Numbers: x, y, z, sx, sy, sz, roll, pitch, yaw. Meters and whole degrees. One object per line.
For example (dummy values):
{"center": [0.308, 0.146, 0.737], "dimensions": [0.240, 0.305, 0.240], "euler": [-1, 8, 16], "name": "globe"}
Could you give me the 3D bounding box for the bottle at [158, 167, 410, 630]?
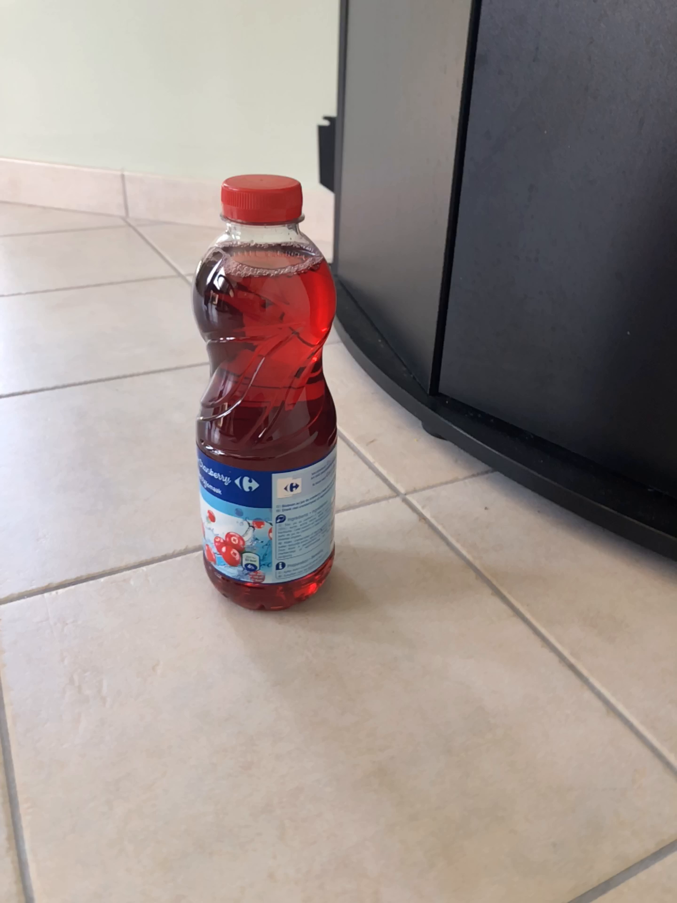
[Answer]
{"center": [-0.033, -0.029, 0.435], "dimensions": [0.100, 0.239, 0.090], "euler": [-12, 33, -23], "name": "bottle"}
